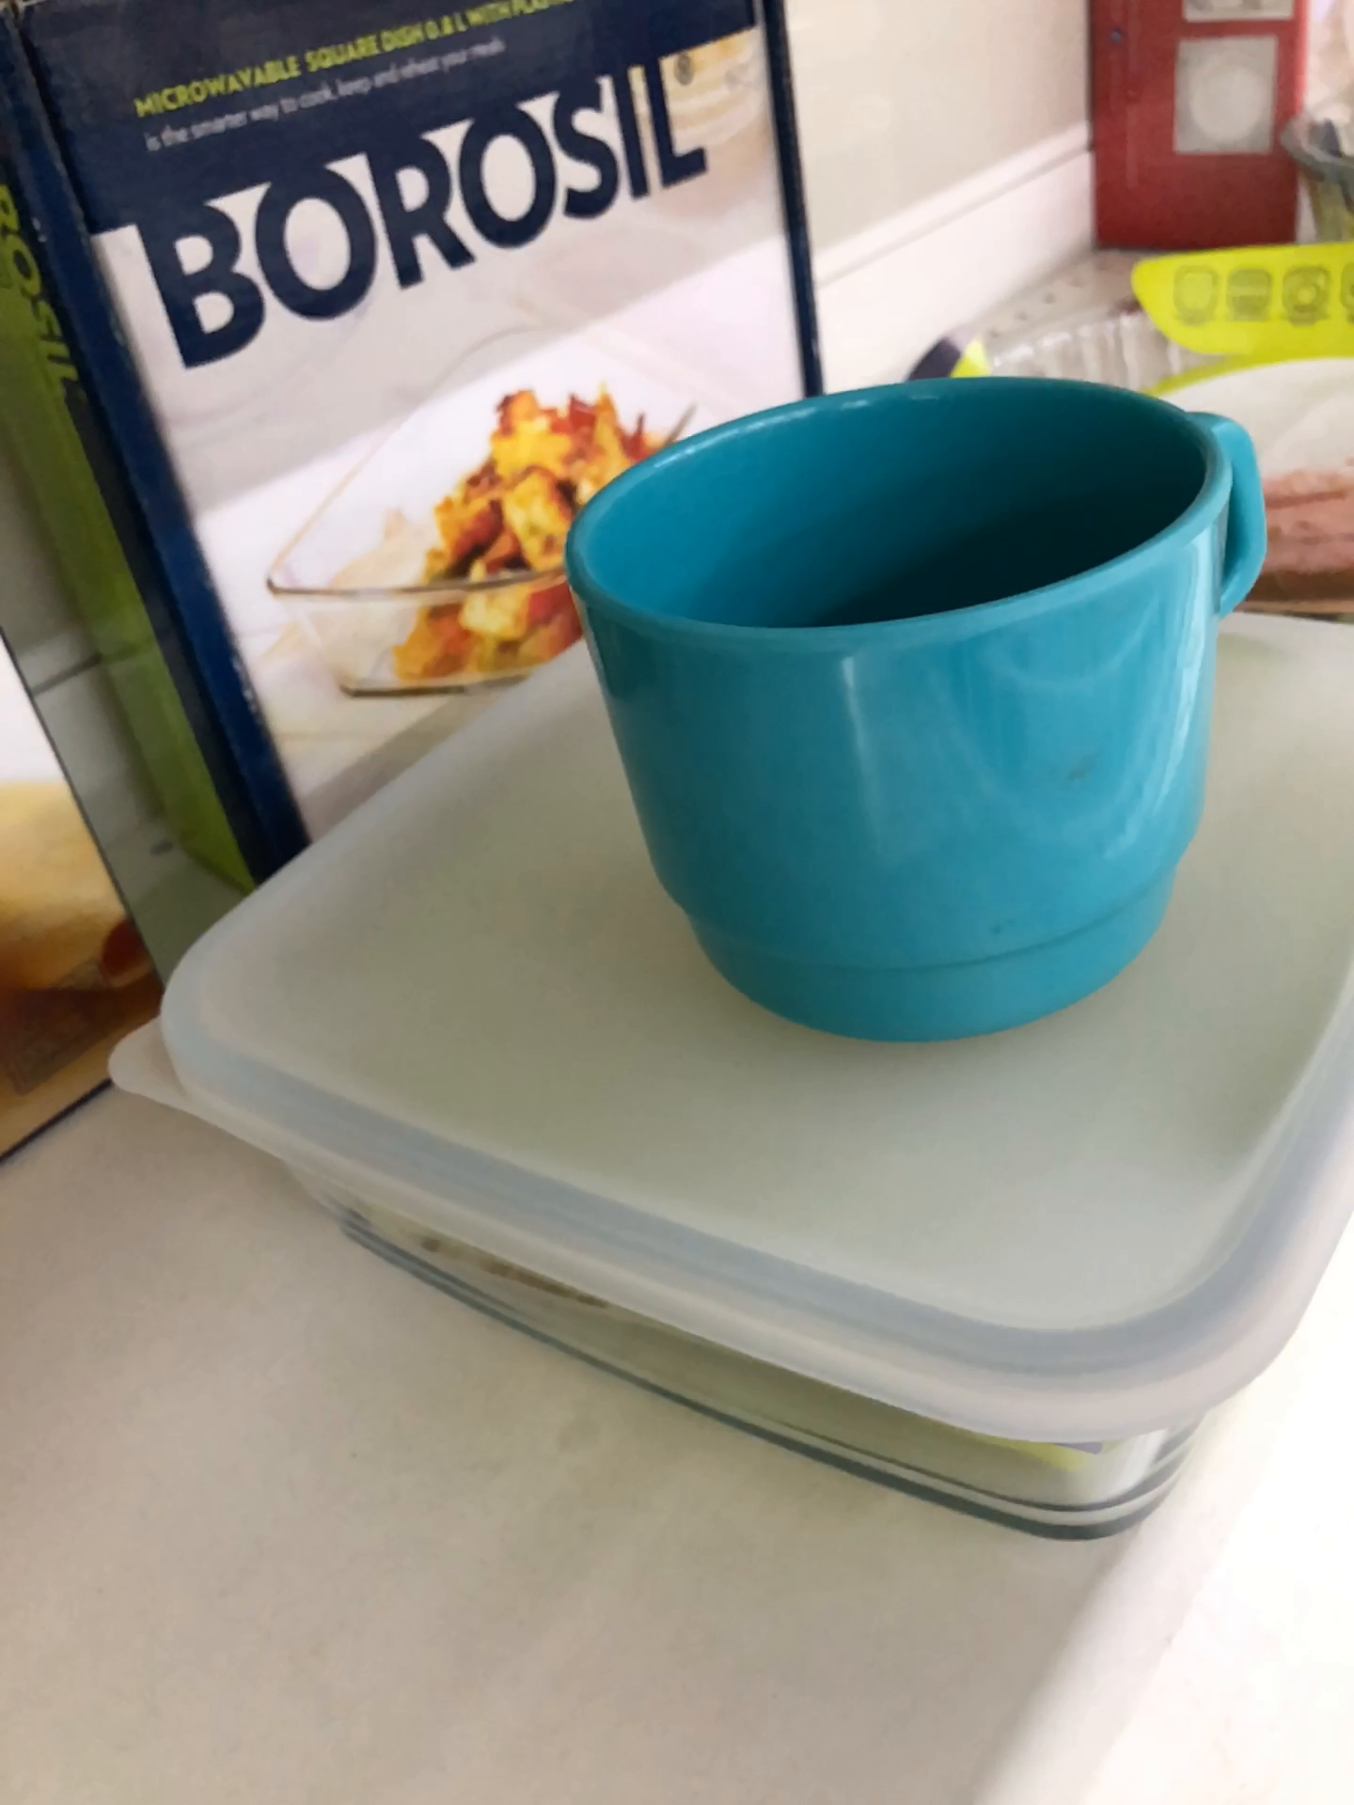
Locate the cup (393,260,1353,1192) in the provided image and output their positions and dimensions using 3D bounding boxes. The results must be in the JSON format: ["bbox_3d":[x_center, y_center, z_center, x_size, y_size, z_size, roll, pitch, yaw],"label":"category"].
[{"bbox_3d":[0.042,-0.038,0.220,0.090,0.070,0.121,23,47,40],"label":"cup"}]
